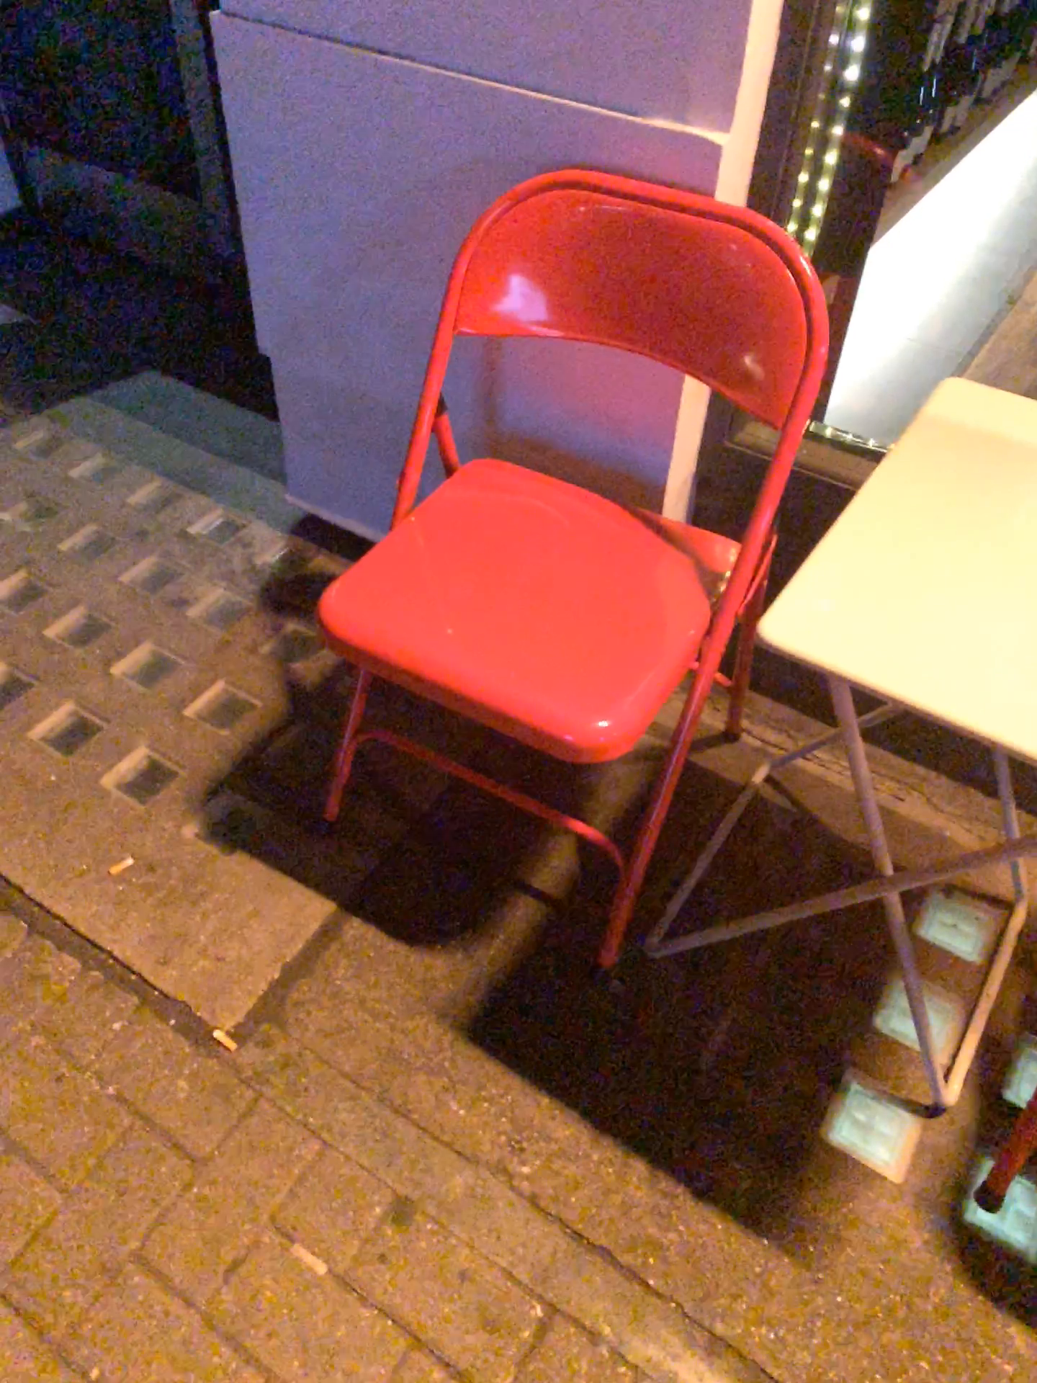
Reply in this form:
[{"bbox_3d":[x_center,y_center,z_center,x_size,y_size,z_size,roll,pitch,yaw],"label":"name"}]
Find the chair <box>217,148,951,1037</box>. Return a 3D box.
[{"bbox_3d":[0.075,-0.108,1.213,0.471,0.742,0.534,24,49,20],"label":"chair"}]
